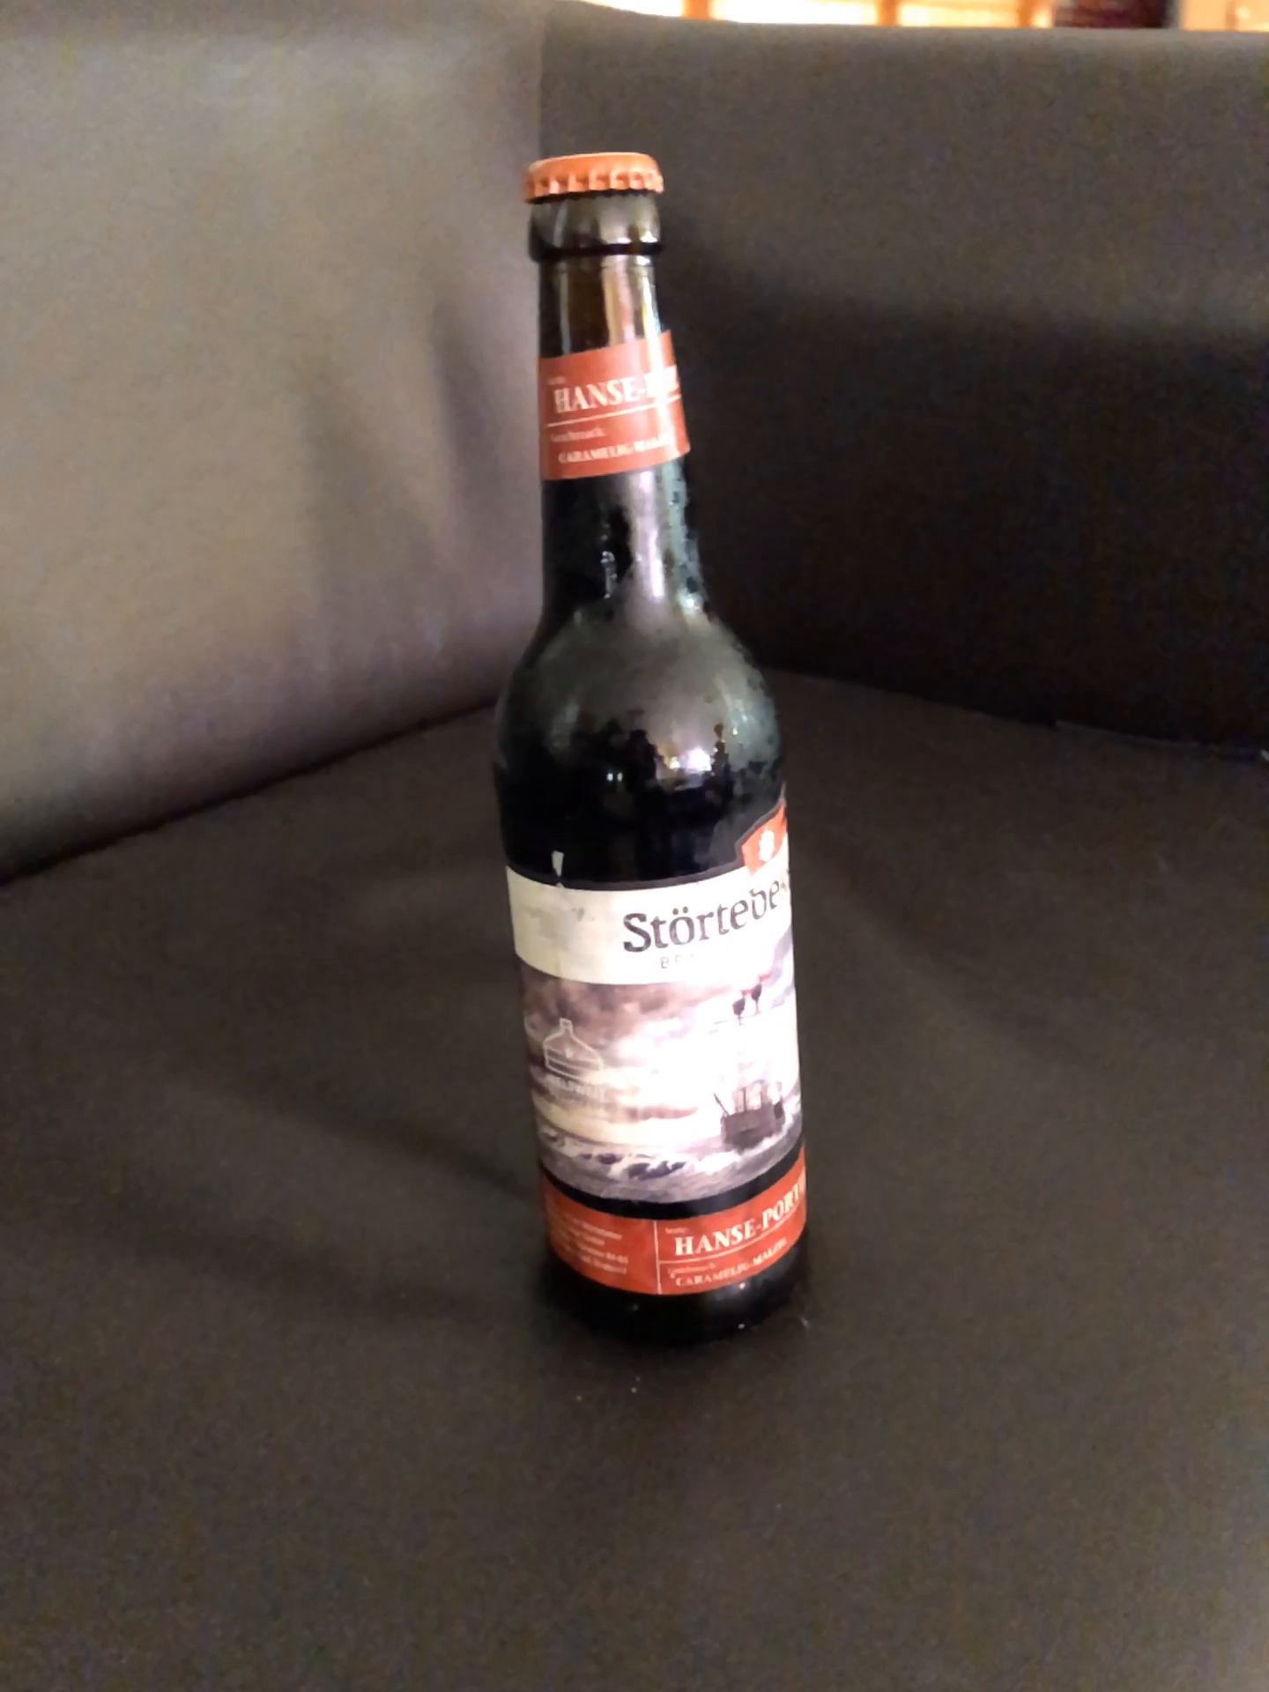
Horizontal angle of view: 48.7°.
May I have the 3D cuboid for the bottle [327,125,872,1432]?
[{"bbox_3d":[-0.003,-0.011,0.333,0.080,0.279,0.080,-3,22,1],"label":"bottle"}]
